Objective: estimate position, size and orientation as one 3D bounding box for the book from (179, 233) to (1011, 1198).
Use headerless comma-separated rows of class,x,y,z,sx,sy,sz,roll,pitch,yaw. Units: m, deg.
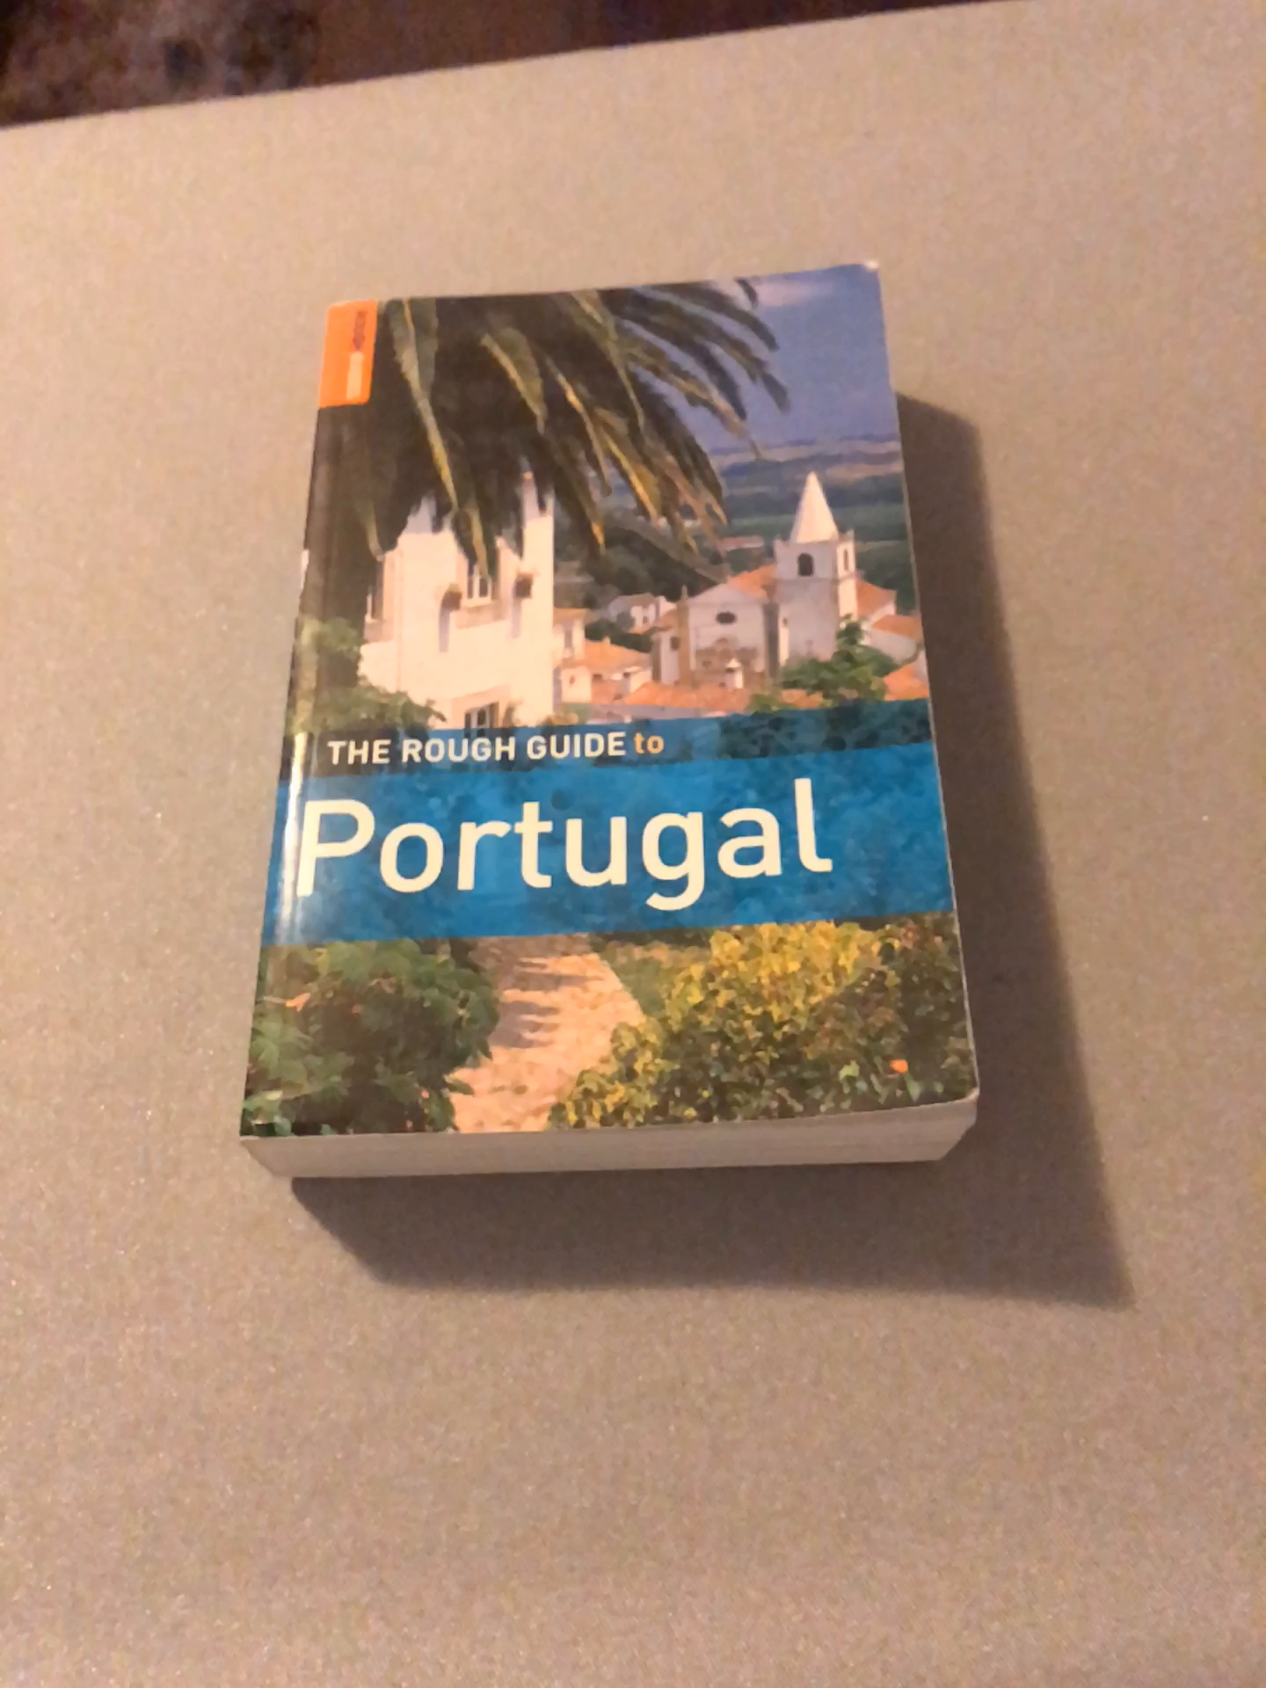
book,-0.008,-0.035,0.299,0.139,0.040,0.205,-3,64,3
